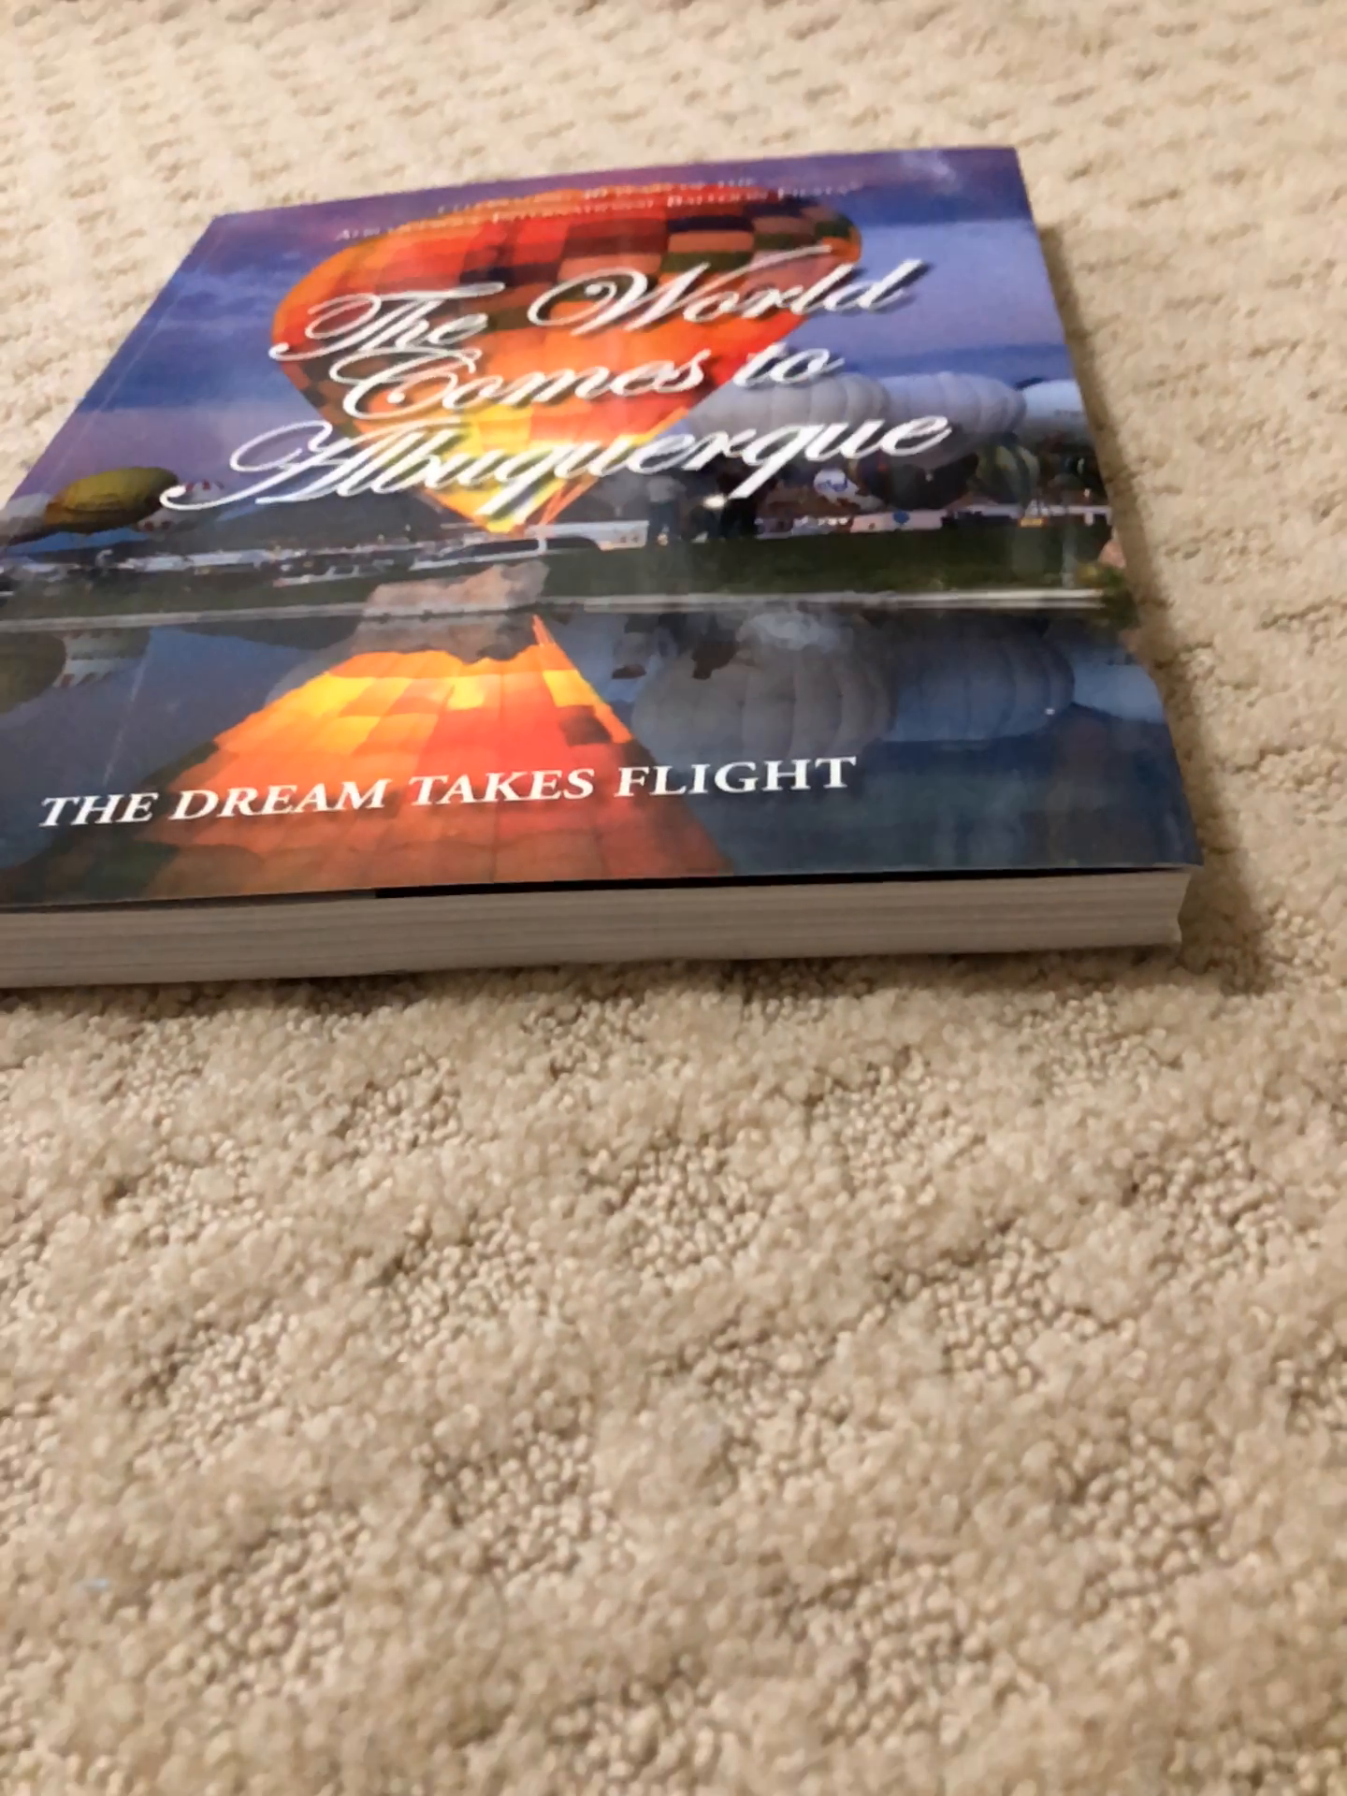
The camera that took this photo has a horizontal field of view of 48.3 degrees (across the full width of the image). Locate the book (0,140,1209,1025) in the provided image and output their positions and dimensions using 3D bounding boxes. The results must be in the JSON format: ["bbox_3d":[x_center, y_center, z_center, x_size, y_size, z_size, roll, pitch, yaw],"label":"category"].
[{"bbox_3d":[-0.026,-0.083,0.294,0.204,0.023,0.259,-2,44,7],"label":"book"}]
